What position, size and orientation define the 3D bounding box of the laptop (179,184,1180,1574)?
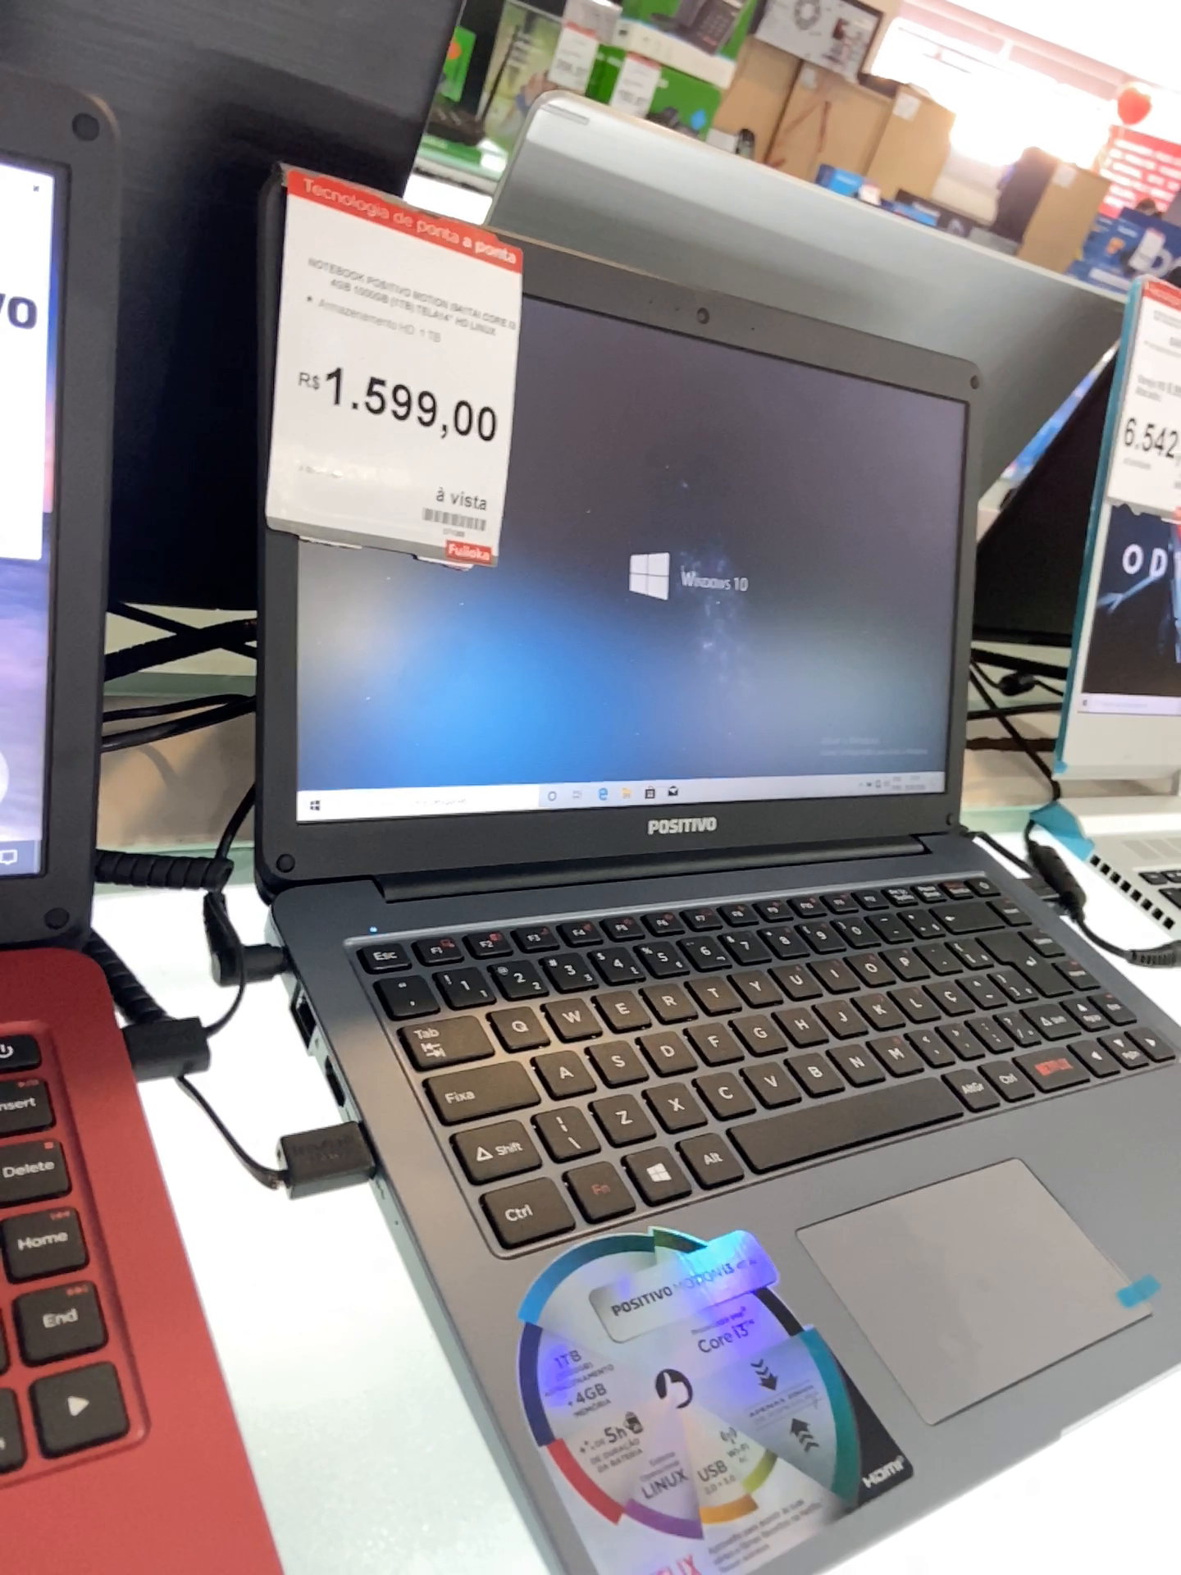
[{"bbox_3d":[0.088,-0.013,0.375,0.320,0.171,0.324,-1,36,-35],"label":"laptop"}]
